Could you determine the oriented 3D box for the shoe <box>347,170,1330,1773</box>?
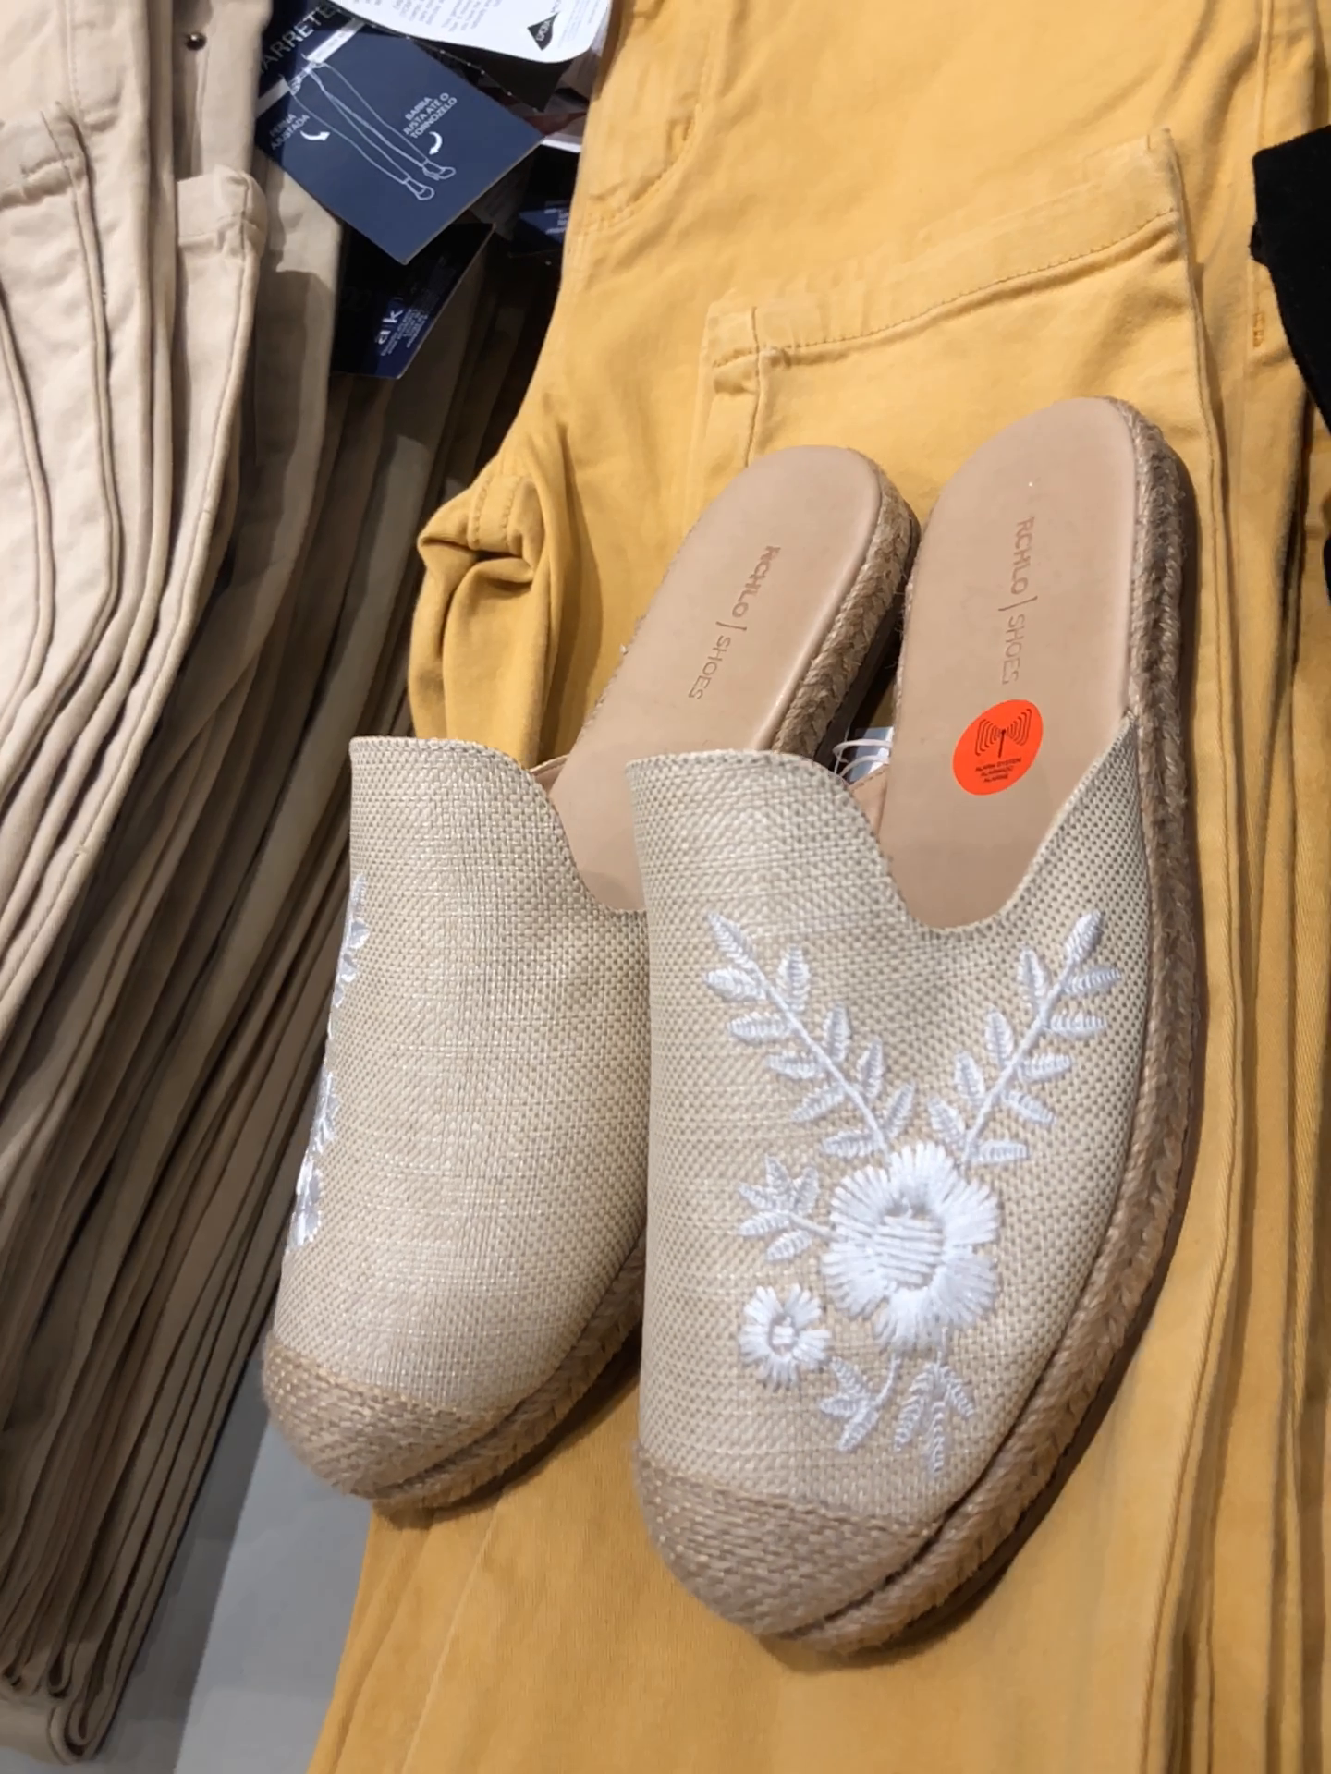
[{"bbox_3d":[0.047,0.001,0.252,0.090,0.070,0.240,1,60,39],"label":"shoe"}]

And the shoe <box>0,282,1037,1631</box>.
[{"bbox_3d":[-0.025,0.000,0.293,0.090,0.070,0.240,12,67,43],"label":"shoe"}]
